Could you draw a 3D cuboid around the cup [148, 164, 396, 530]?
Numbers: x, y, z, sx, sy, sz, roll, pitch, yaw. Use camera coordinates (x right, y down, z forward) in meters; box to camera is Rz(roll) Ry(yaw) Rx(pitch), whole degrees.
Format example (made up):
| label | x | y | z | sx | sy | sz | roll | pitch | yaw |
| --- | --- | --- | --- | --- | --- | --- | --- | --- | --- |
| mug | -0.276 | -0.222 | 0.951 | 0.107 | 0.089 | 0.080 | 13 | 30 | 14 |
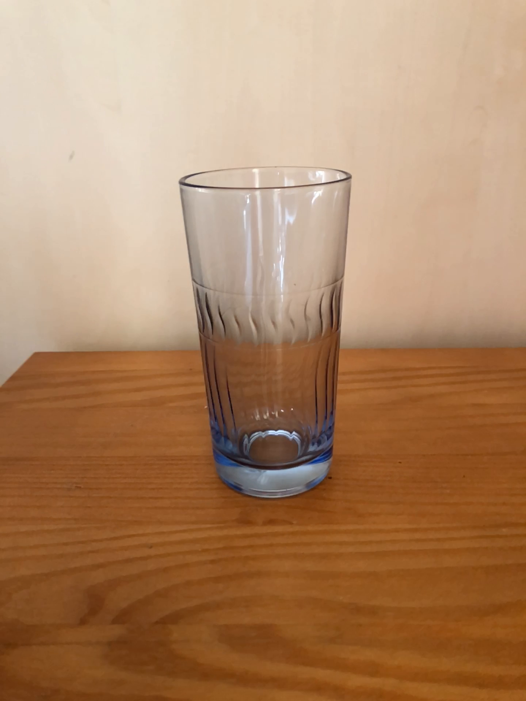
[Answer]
| label | x | y | z | sx | sy | sz | roll | pitch | yaw |
| --- | --- | --- | --- | --- | --- | --- | --- | --- | --- |
| cup | 0.000 | -0.008 | 0.252 | 0.070 | 0.129 | 0.076 | 0 | 23 | 0 |
